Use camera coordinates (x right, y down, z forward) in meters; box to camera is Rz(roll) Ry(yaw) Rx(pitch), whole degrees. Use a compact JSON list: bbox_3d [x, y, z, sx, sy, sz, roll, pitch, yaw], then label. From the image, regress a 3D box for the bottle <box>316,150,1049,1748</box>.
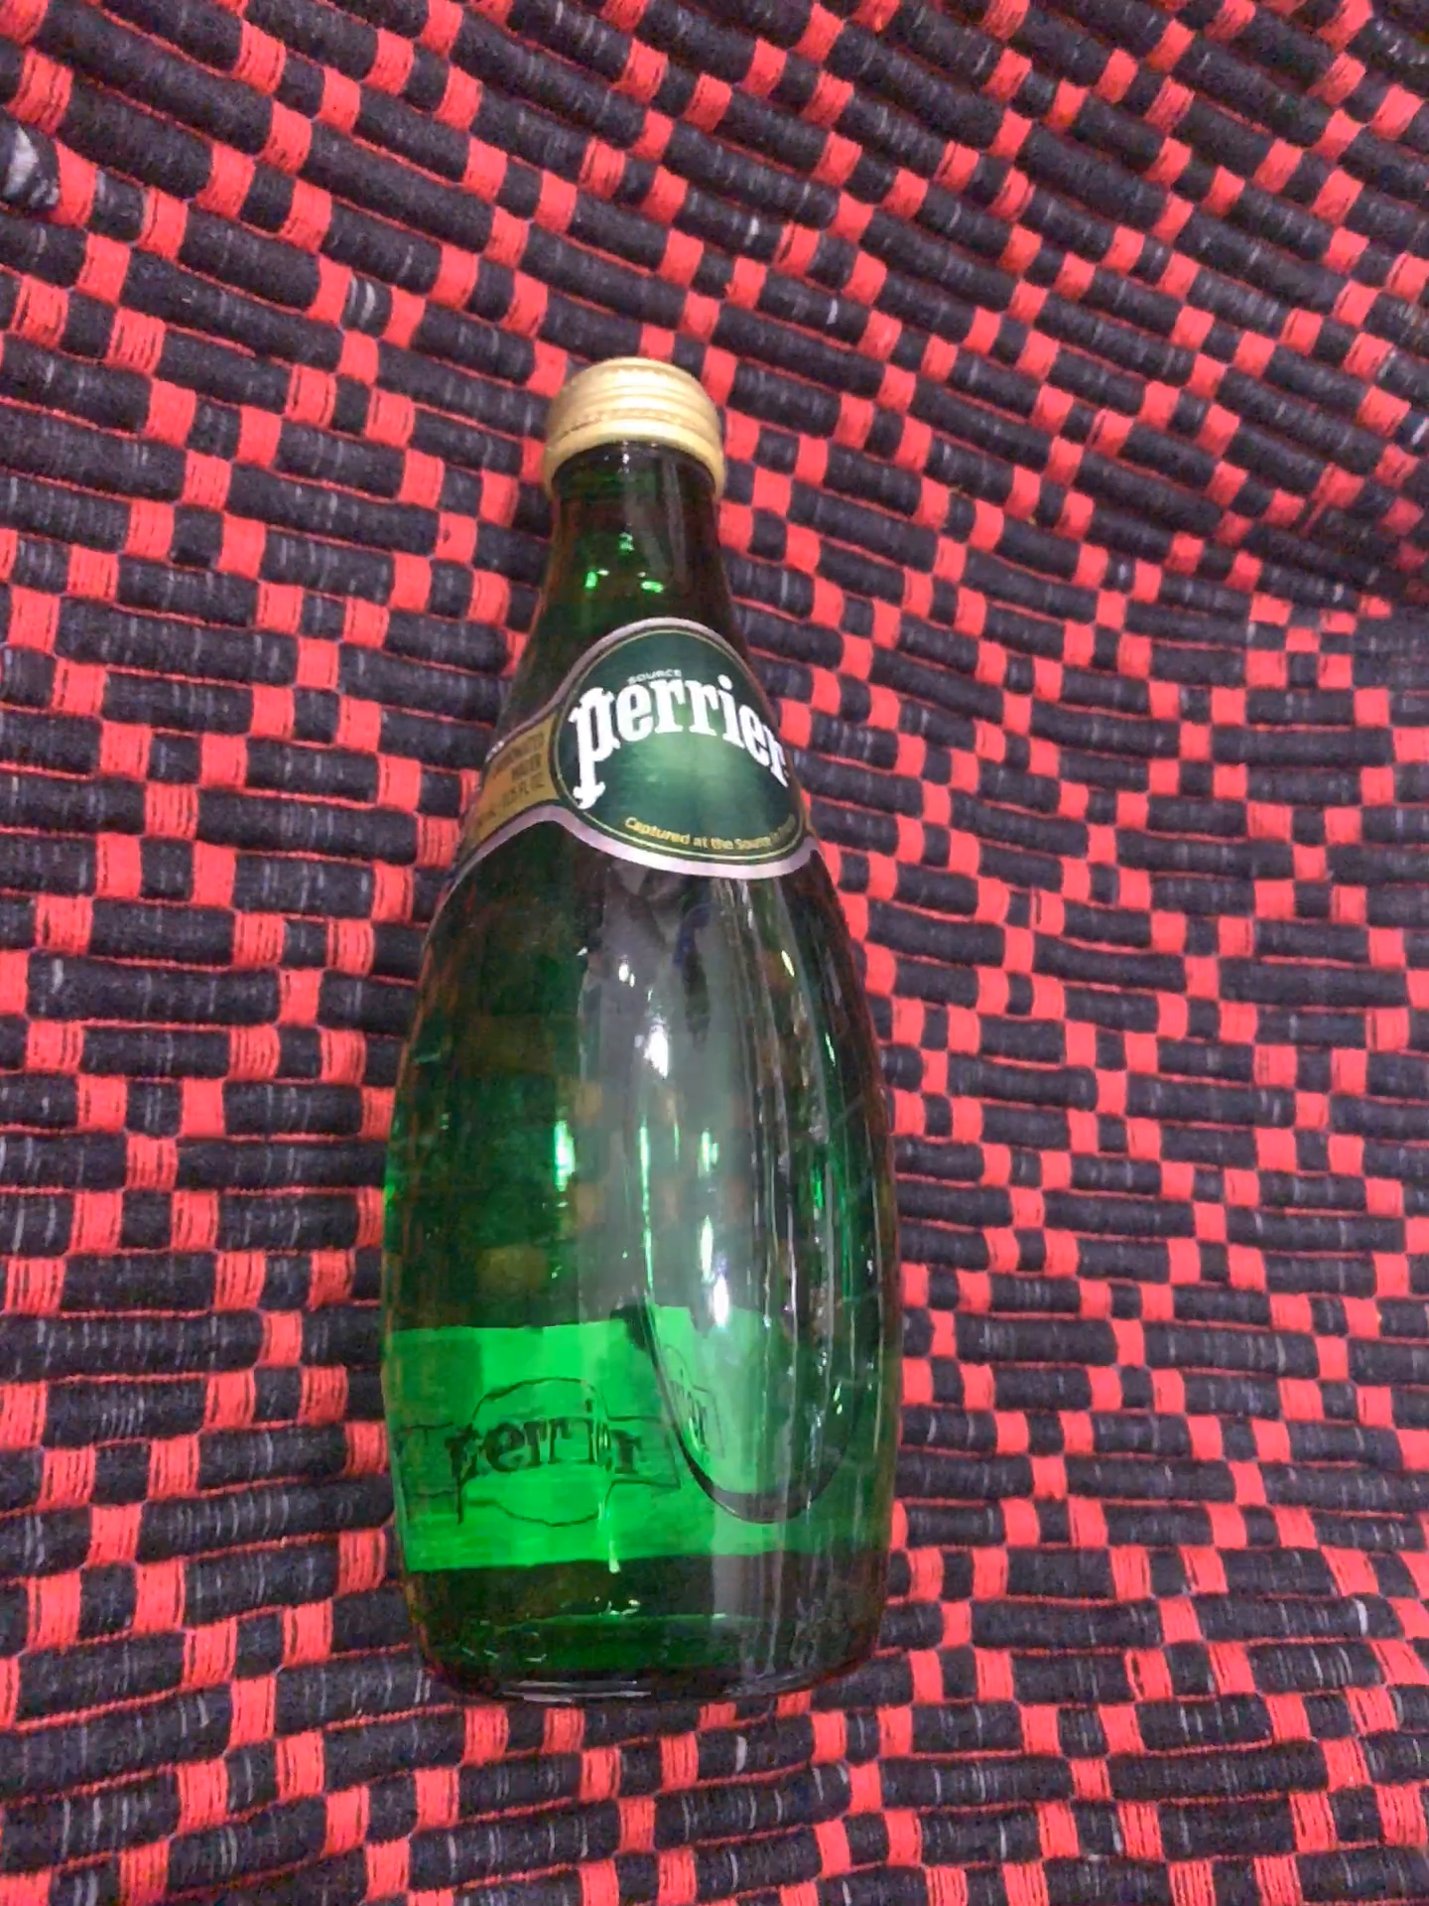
[{"bbox_3d":[-0.010,-0.002,0.205,0.070,0.070,0.180,5,74,-20],"label":"bottle"}]
